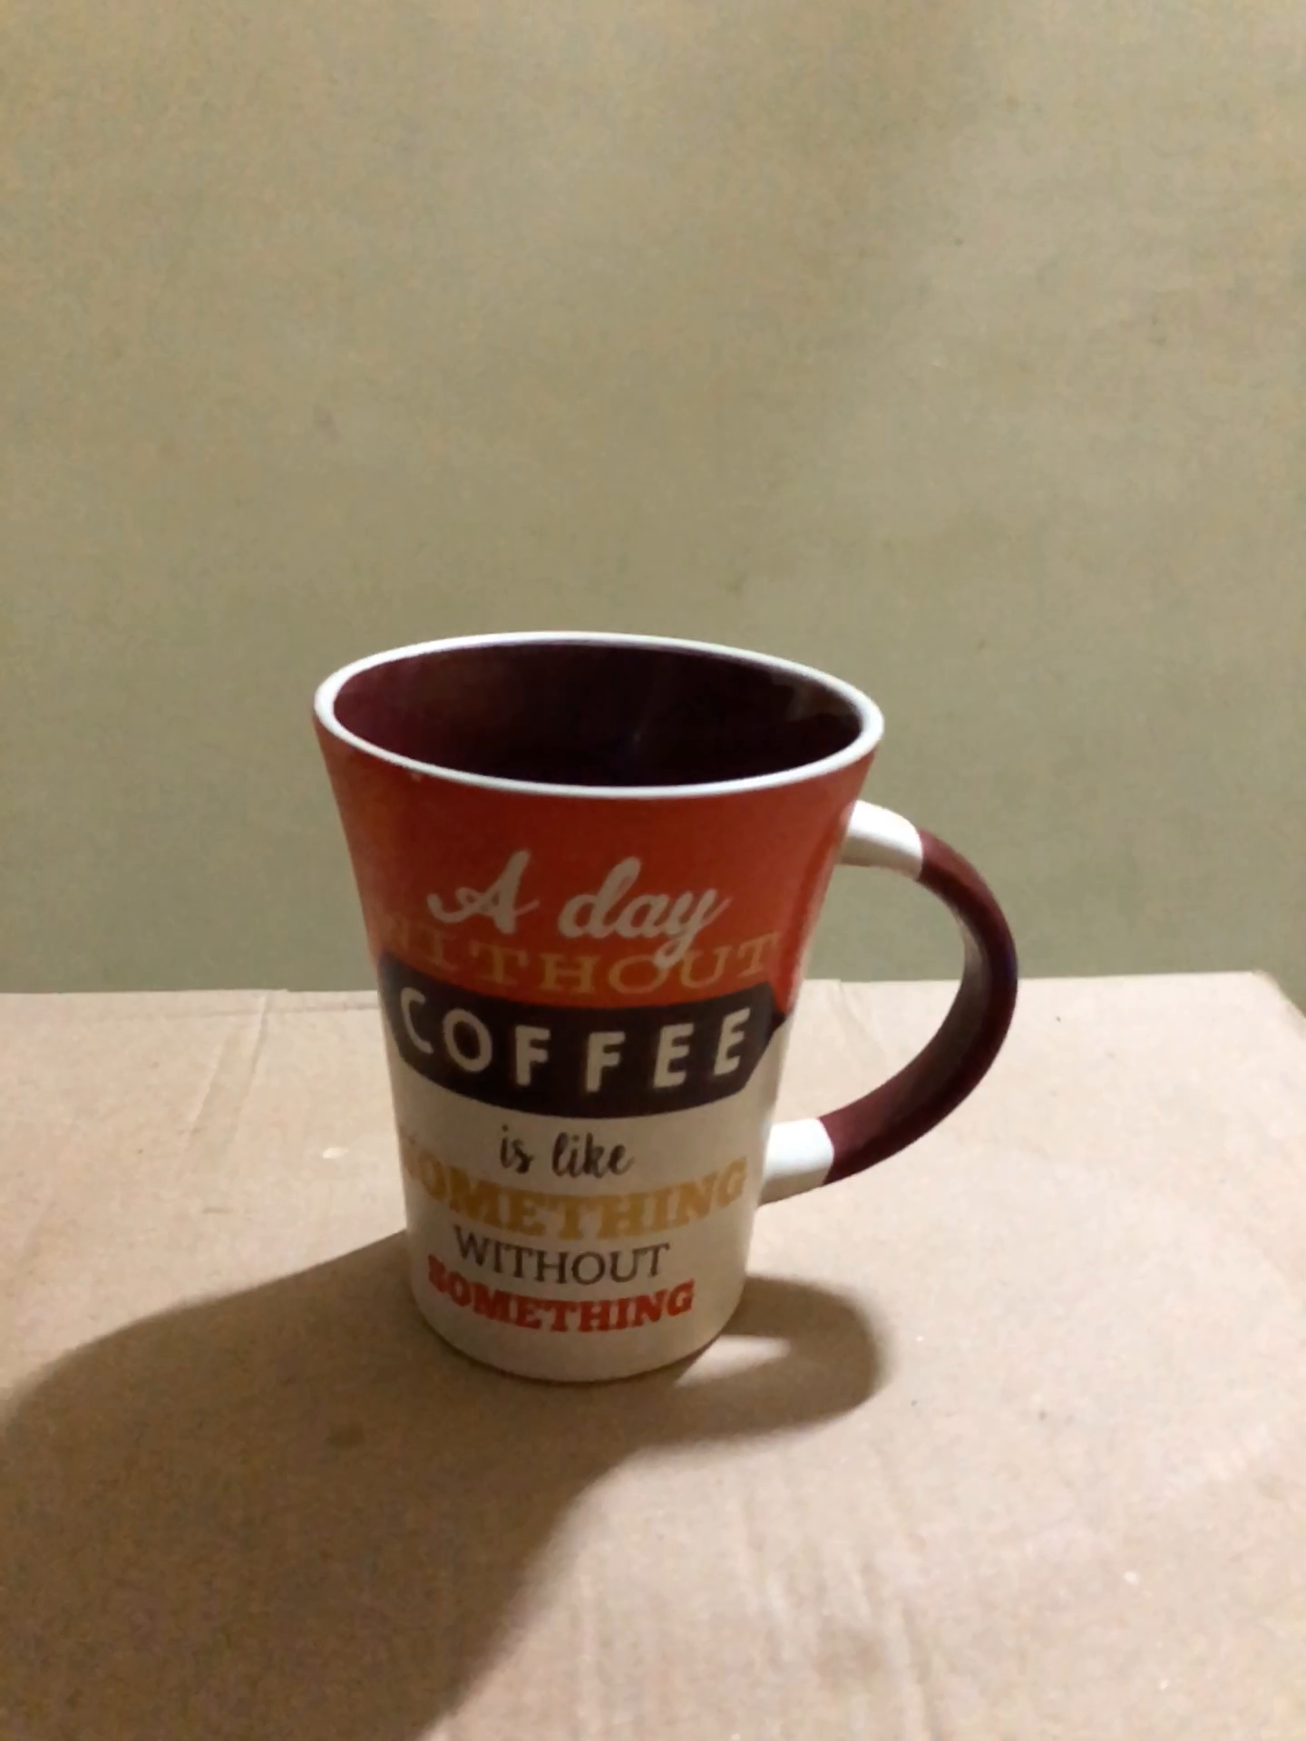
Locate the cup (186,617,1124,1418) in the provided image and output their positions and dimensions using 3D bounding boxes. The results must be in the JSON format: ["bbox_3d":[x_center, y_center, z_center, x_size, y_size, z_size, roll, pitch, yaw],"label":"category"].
[{"bbox_3d":[-0.001,0.018,0.265,0.130,0.109,0.100,-1,19,-3],"label":"cup"}]
